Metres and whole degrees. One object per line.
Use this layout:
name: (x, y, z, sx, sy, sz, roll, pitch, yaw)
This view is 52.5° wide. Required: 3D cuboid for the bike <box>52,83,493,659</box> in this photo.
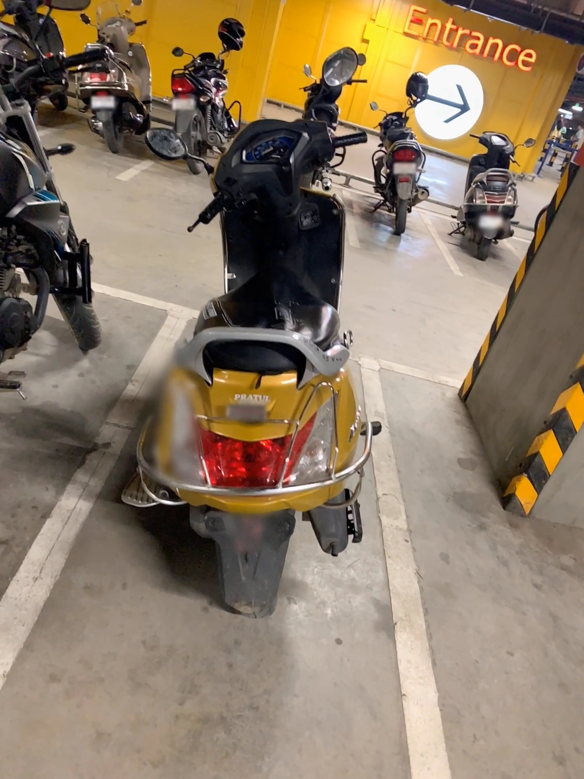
bike: (-0.161, -0.240, 1.730, 0.568, 0.993, 1.528, 11, 28, -11)
